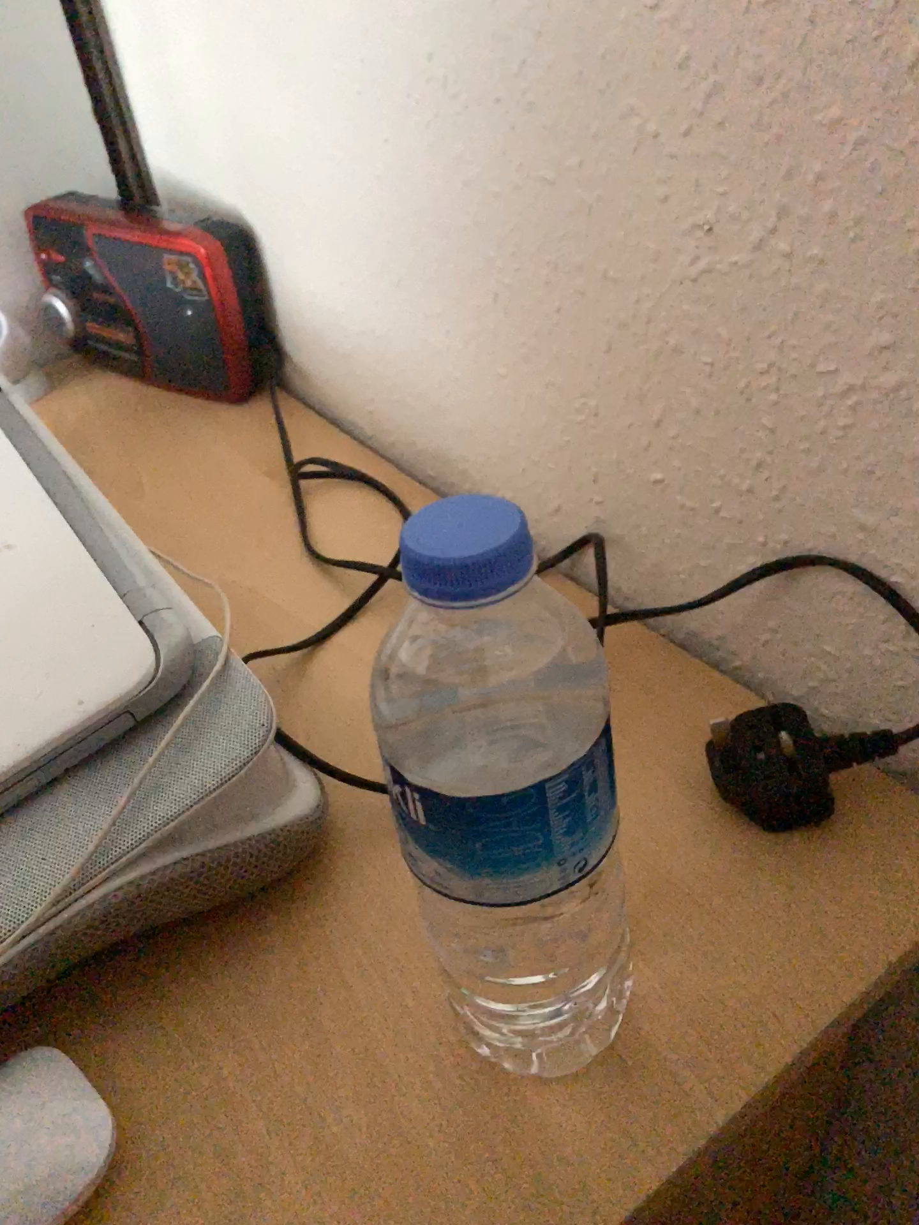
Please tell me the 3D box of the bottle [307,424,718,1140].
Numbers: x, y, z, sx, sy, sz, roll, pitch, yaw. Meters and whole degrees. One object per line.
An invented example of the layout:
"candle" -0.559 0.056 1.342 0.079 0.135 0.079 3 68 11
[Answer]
"bottle" 0.016 0.056 0.261 0.070 0.188 0.071 -4 37 3
